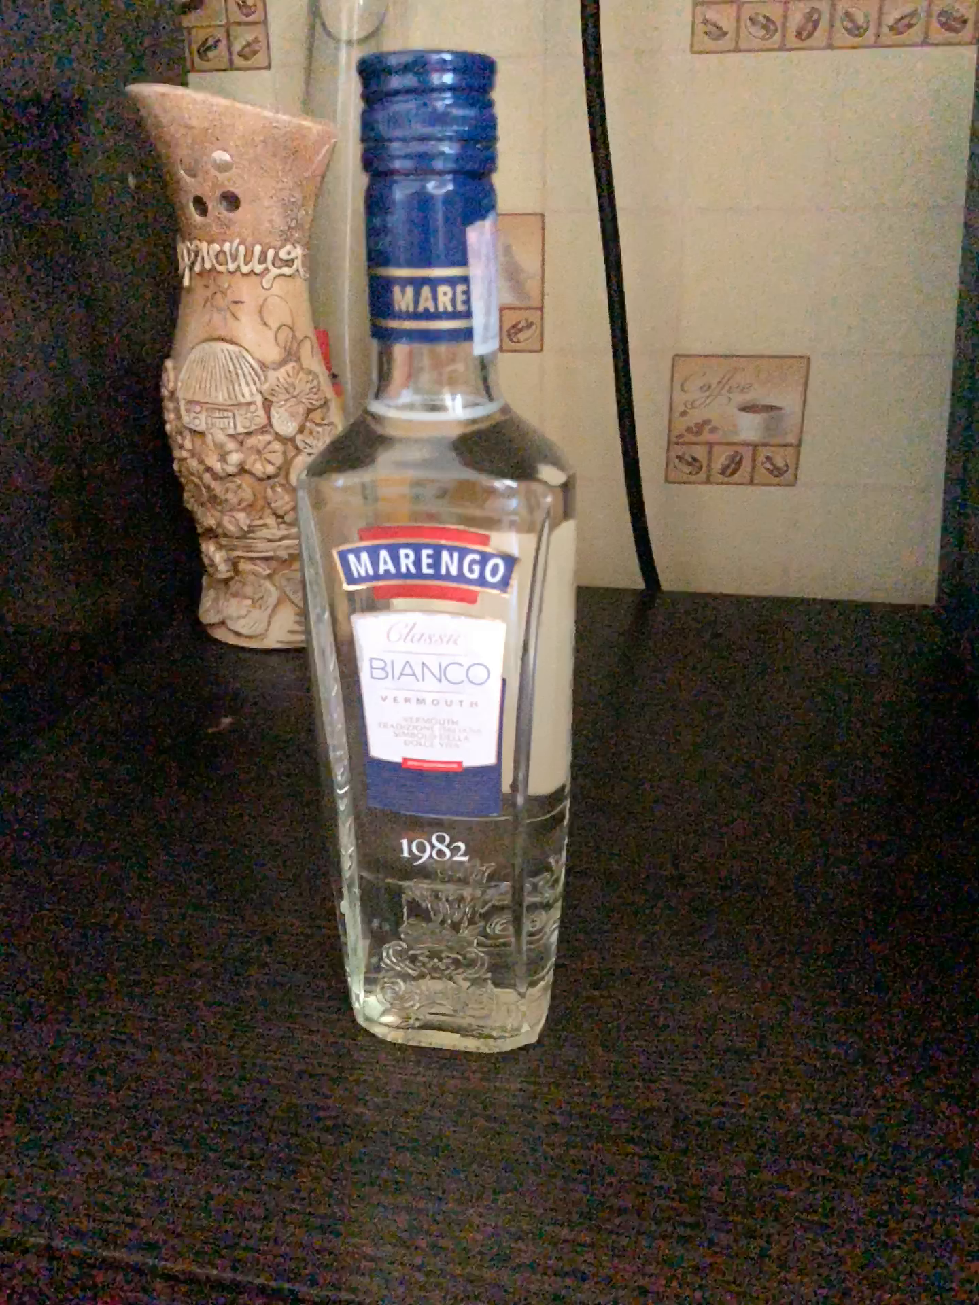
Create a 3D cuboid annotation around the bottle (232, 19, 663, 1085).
[{"bbox_3d":[-0.006,-0.008,0.290,0.090,0.289,0.050,4,24,9],"label":"bottle"}]
